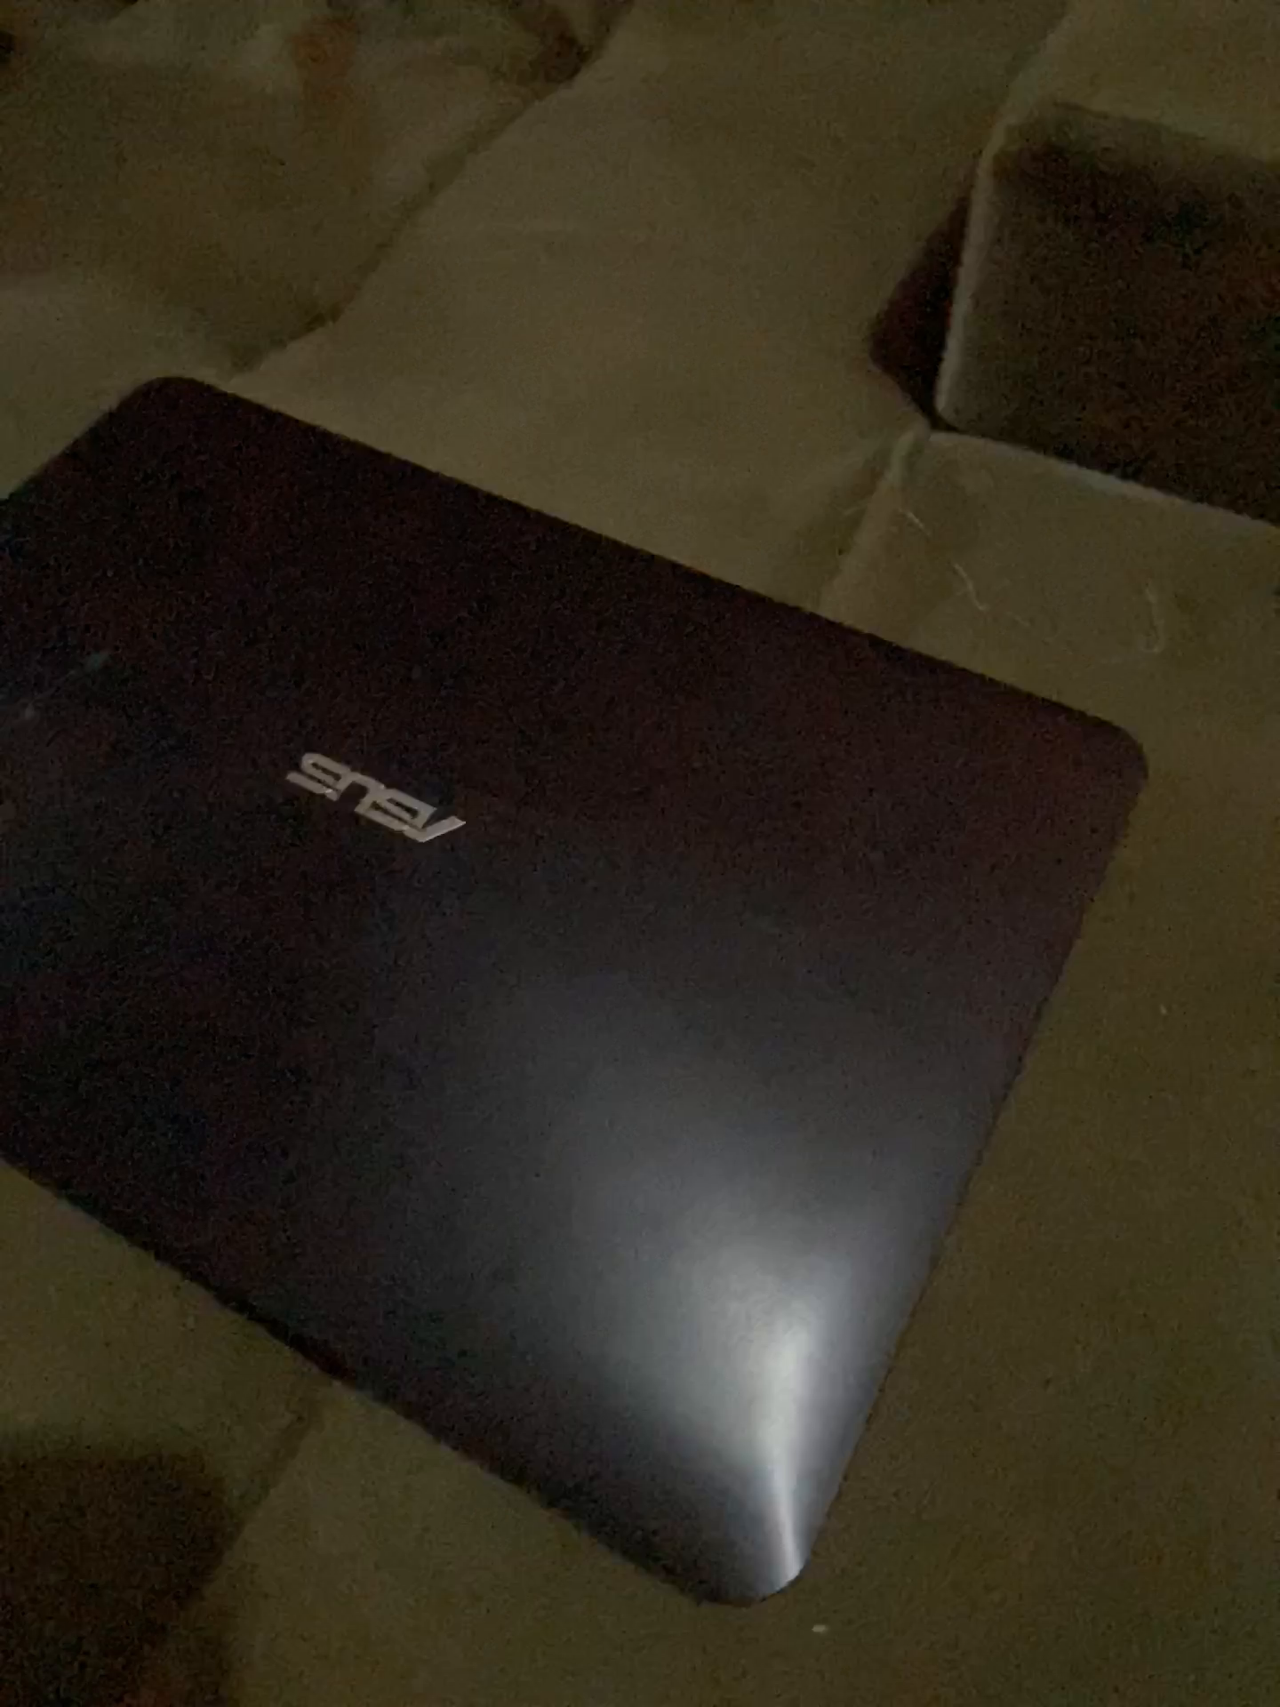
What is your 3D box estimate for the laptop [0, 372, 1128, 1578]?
[{"bbox_3d":[-0.079,-0.014,0.379,0.370,0.004,0.235,25,62,18],"label":"laptop"}]
